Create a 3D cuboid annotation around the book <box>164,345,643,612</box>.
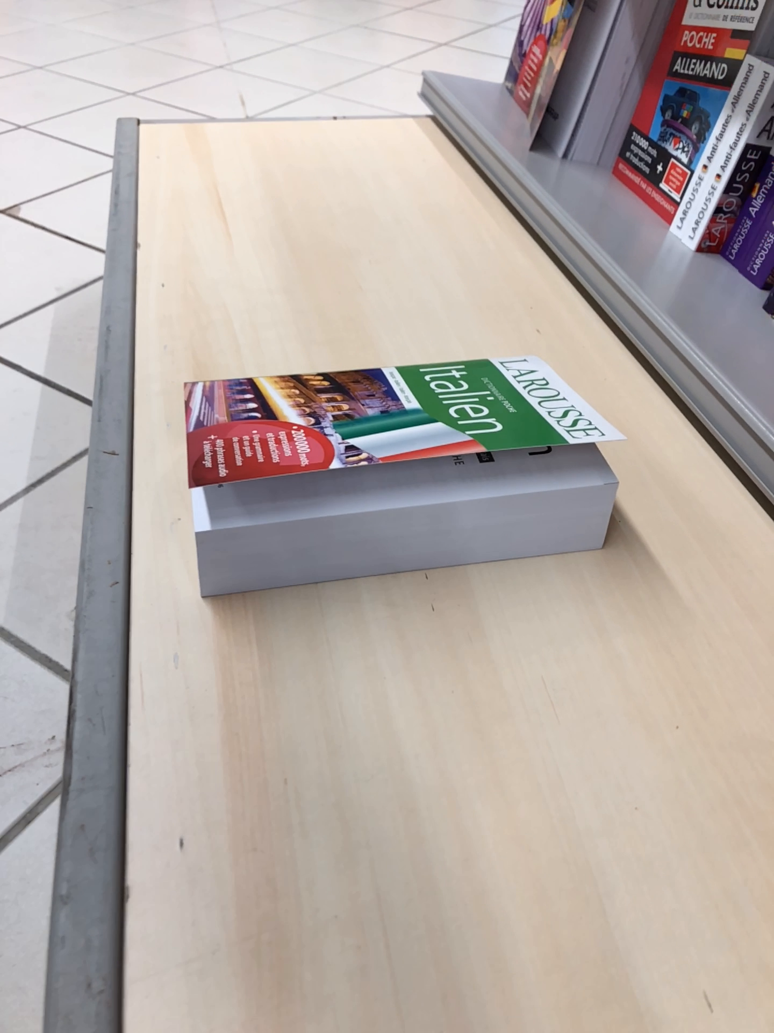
[{"bbox_3d":[0.000,-0.023,0.373,0.184,0.045,0.107,-5,42,-10],"label":"book"}]
